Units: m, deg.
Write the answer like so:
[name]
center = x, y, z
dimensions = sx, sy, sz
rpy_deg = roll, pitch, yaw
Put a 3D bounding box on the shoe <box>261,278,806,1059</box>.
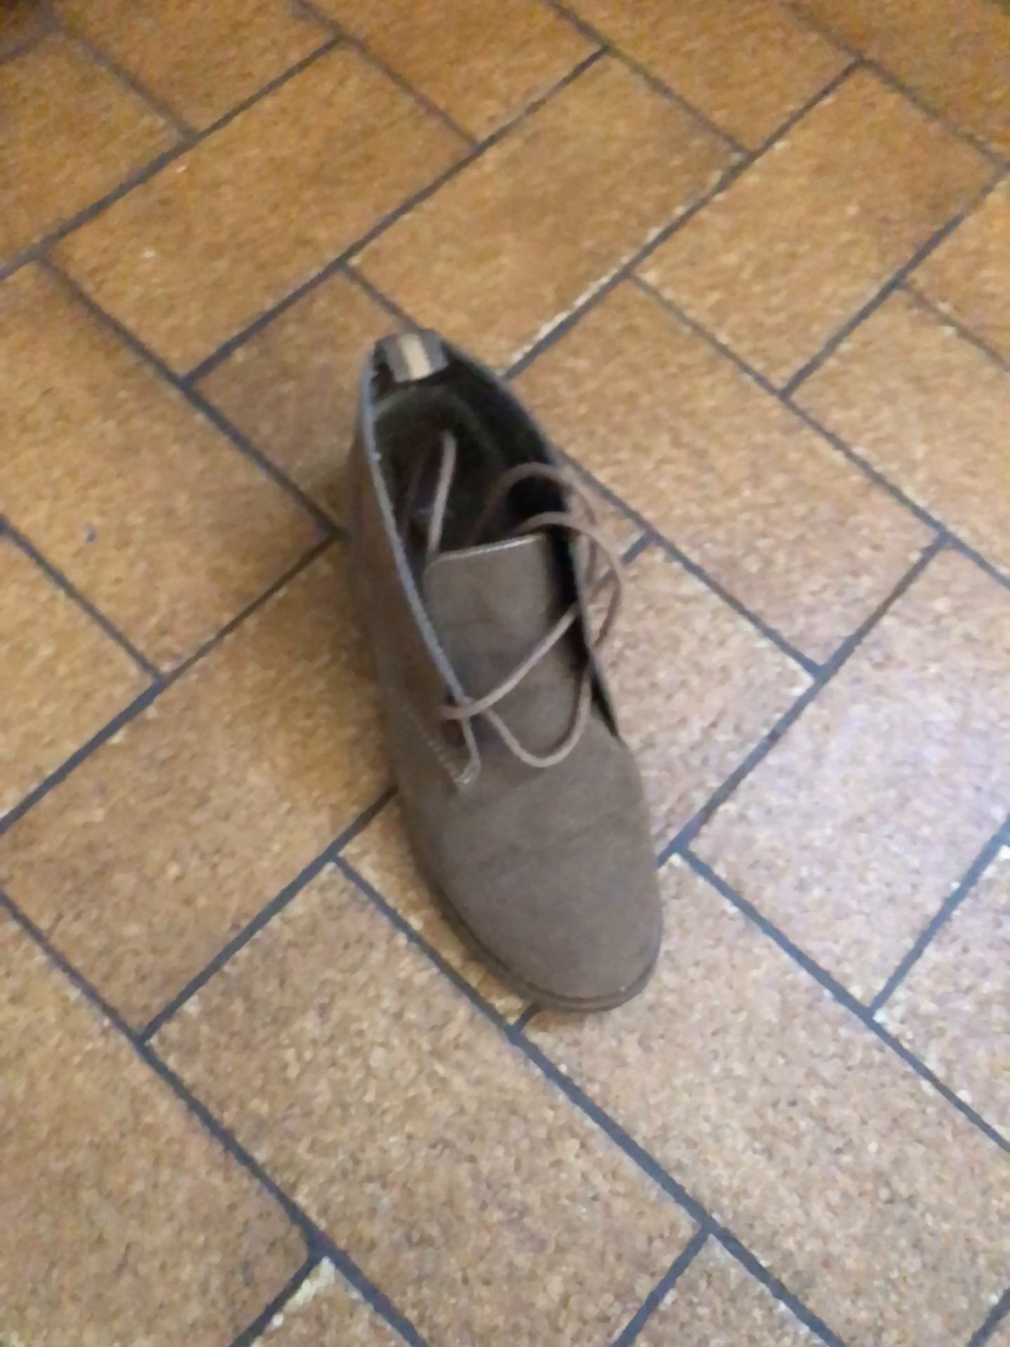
[shoe]
center = -0.001, -0.001, 0.412
dimensions = 0.100, 0.100, 0.250
rpy_deg = -17, 74, -11
